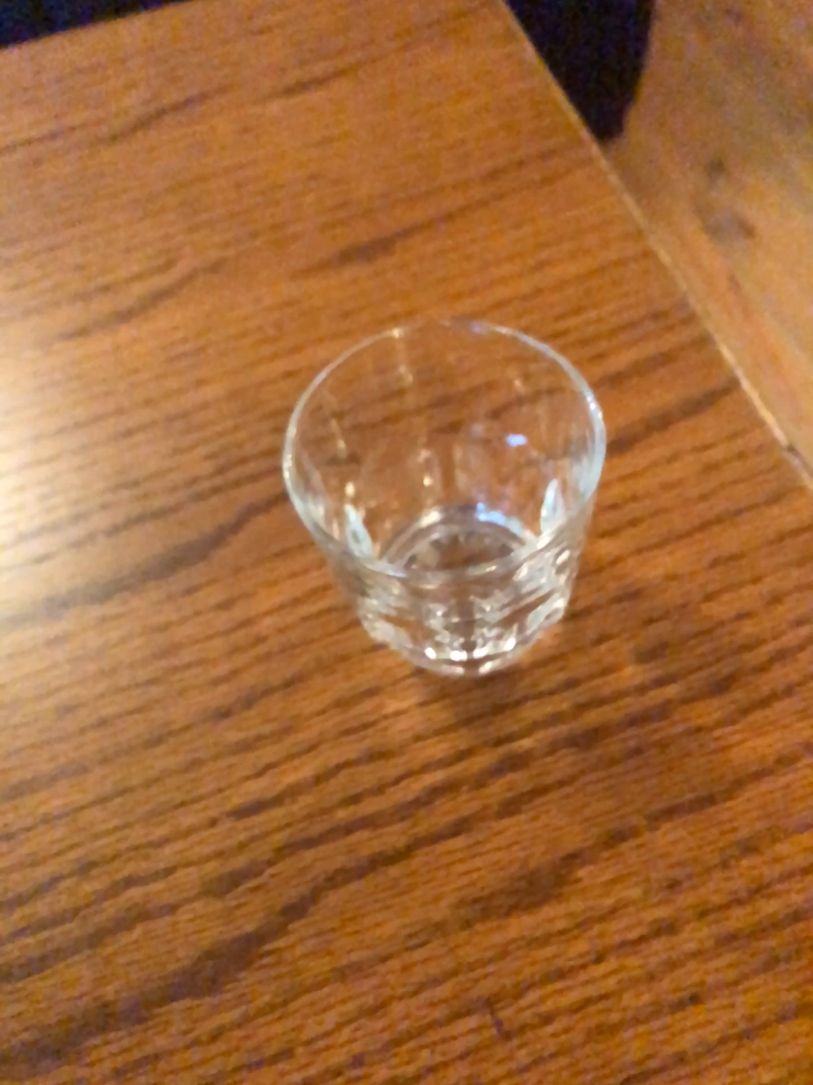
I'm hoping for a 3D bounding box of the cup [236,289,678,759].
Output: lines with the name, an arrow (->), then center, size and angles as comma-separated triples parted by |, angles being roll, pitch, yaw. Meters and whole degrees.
cup -> 0.013, -0.005, 0.257 | 0.082, 0.069, 0.083 | -4, 57, 6
